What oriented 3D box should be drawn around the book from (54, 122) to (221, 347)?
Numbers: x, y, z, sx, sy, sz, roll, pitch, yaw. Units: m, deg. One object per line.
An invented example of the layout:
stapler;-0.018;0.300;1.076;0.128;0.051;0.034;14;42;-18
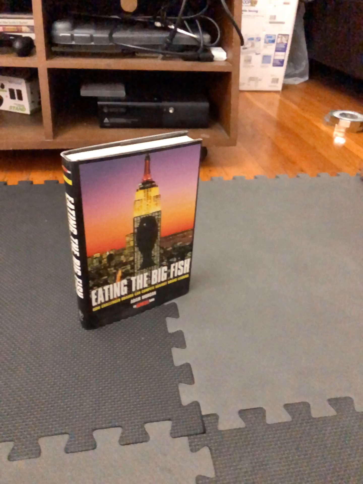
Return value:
book;-0.051;-0.005;0.514;0.181;0.258;0.050;-19;42;-30
